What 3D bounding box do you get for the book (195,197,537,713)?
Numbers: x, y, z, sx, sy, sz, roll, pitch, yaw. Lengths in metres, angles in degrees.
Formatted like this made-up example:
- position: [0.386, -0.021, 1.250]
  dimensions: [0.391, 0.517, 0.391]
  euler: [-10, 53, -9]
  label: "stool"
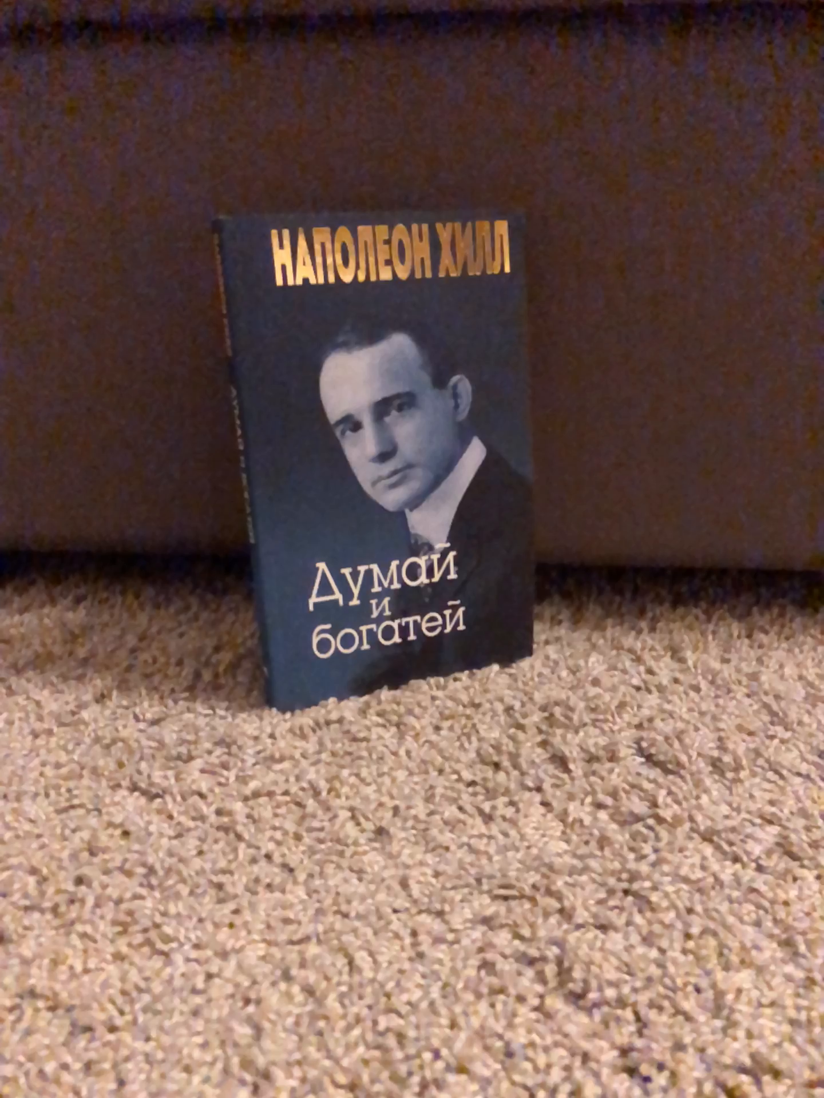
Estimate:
- position: [-0.013, -0.042, 0.387]
  dimensions: [0.132, 0.198, 0.030]
  euler: [-8, 14, -22]
  label: "book"
